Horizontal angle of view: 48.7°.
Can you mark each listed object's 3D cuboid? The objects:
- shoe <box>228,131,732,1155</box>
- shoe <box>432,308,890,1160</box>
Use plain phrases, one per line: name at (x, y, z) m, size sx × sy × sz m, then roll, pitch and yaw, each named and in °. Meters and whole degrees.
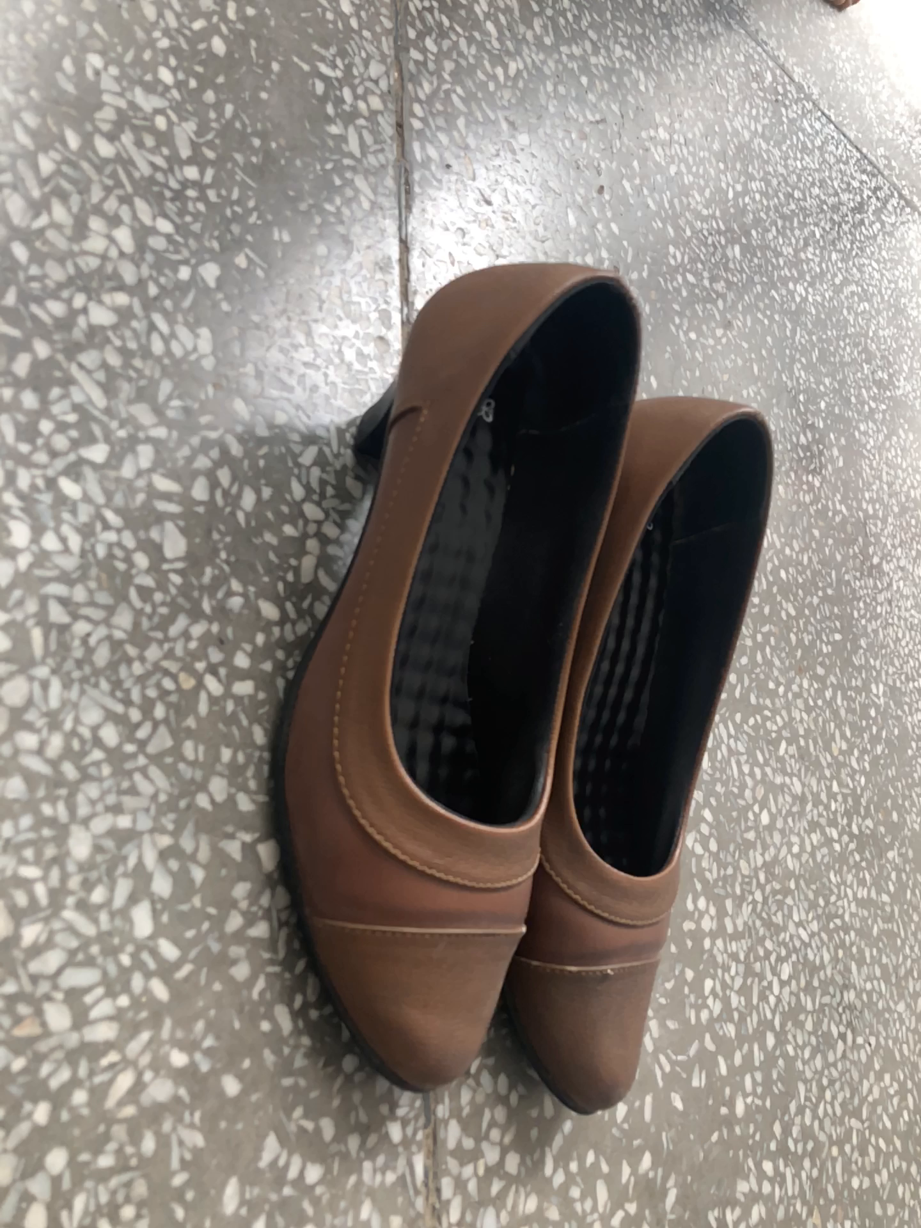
shoe at (0.000, 0.008, 0.298) m, size 0.091 × 0.096 × 0.244 m, roll 13°, pitch 68°, yaw -43°
shoe at (0.062, 0.038, 0.350) m, size 0.093 × 0.096 × 0.240 m, roll 12°, pitch 69°, yaw -44°
